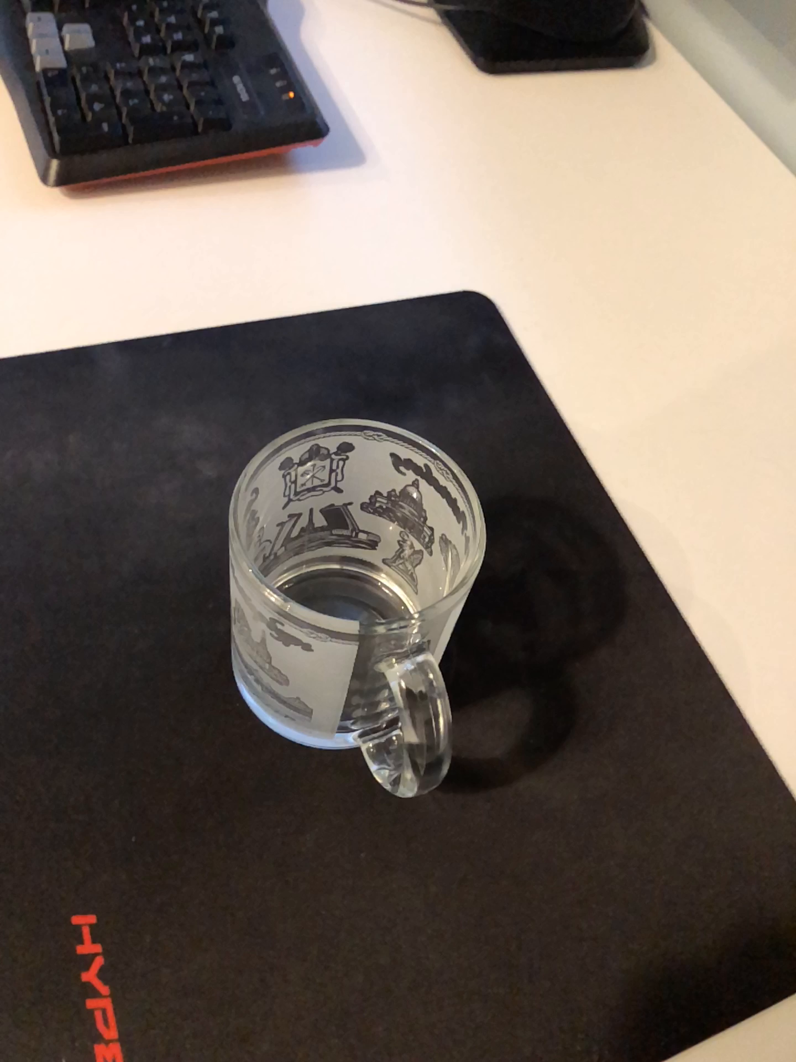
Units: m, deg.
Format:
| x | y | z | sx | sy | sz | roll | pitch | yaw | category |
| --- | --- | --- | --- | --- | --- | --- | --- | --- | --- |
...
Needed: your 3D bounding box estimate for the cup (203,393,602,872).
| x | y | z | sx | sy | sz | roll | pitch | yaw | category |
| --- | --- | --- | --- | --- | --- | --- | --- | --- | --- |
| -0.009 | 0.037 | 0.315 | 0.090 | 0.107 | 0.117 | -13 | 59 | -17 | cup |
